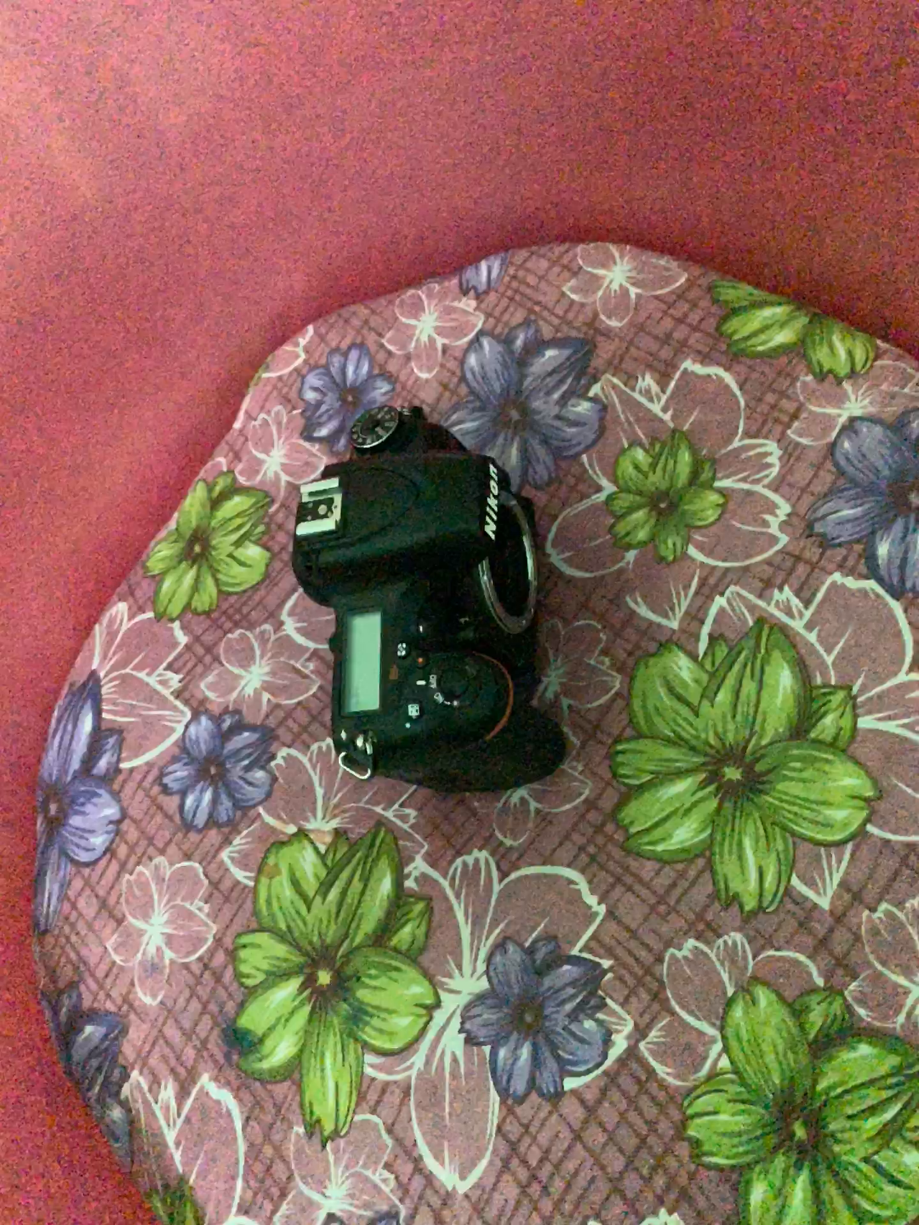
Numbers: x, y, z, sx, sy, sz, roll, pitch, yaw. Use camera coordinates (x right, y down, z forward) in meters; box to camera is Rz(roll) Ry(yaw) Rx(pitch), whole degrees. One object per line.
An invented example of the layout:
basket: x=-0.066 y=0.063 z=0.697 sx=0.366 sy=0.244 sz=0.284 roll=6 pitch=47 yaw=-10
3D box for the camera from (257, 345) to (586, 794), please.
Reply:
camera: x=-0.008 y=-0.008 z=0.357 sx=0.093 sy=0.090 sz=0.140 roll=-5 pitch=71 yaw=17
